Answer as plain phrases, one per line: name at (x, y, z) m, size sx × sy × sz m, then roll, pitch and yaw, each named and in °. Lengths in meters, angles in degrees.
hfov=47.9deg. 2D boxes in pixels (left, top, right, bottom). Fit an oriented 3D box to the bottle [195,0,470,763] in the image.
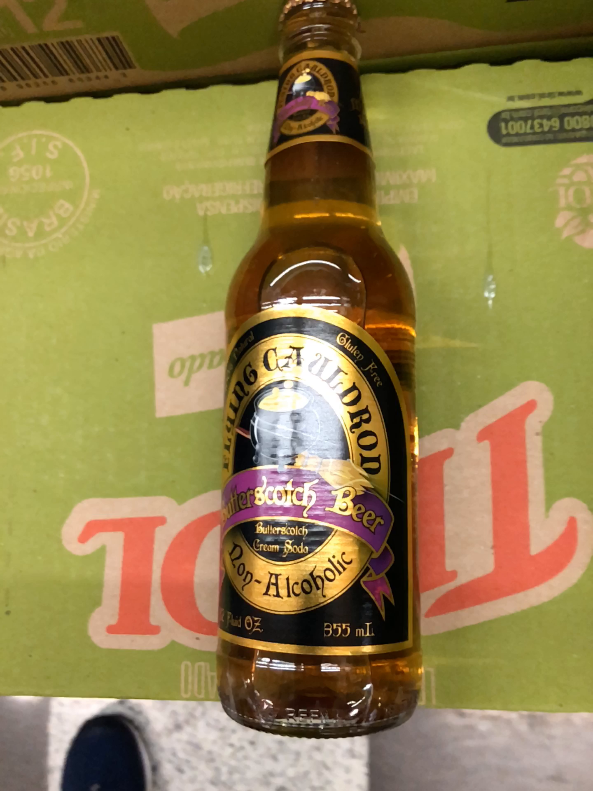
bottle at (0.010, -0.033, 0.215) m, size 0.070 × 0.050 × 0.260 m, roll -1°, pitch 81°, yaw 6°
